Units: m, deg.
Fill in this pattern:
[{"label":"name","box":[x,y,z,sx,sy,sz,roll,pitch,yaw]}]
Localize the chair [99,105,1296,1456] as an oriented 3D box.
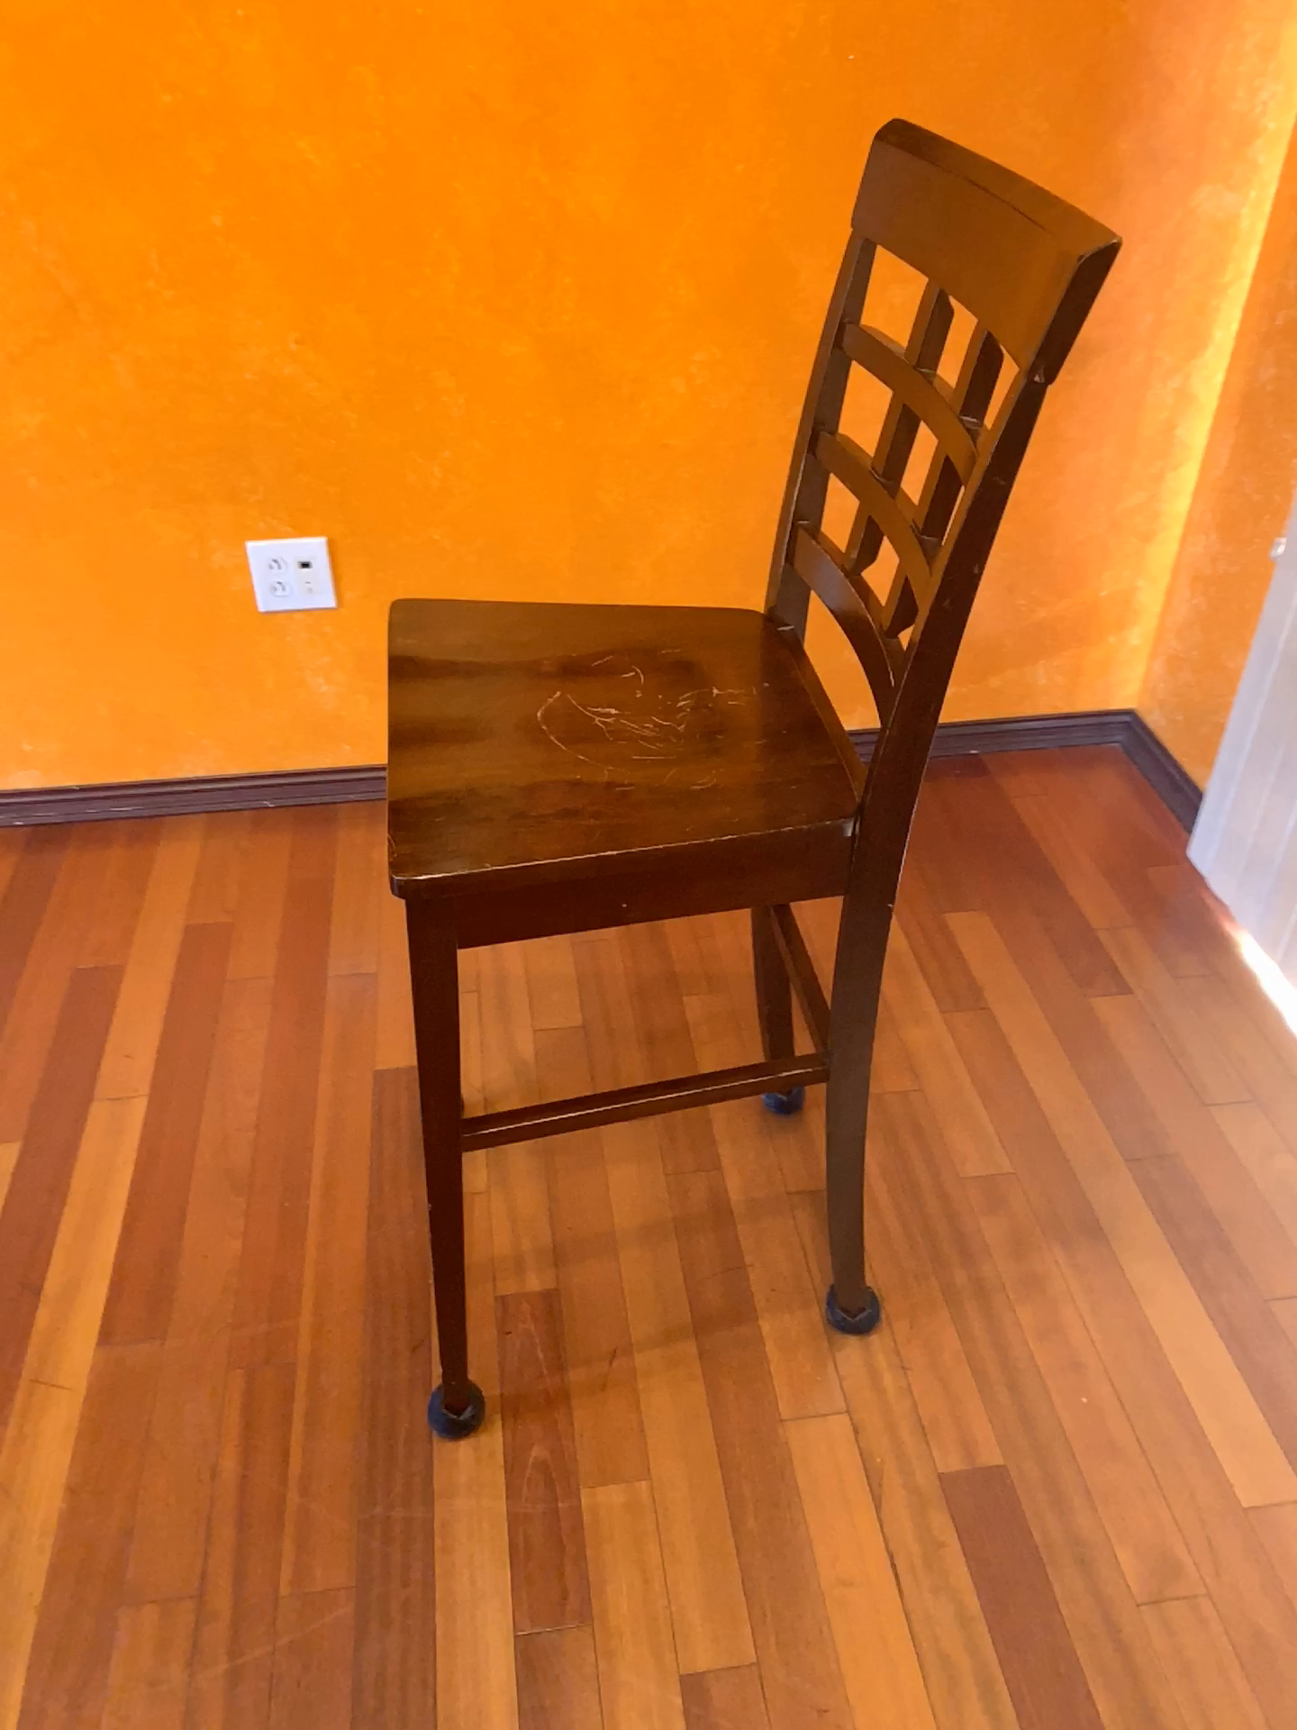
[{"label":"chair","box":[-0.010,-0.051,1.149,0.589,0.987,0.538,-4,37,-8]}]
